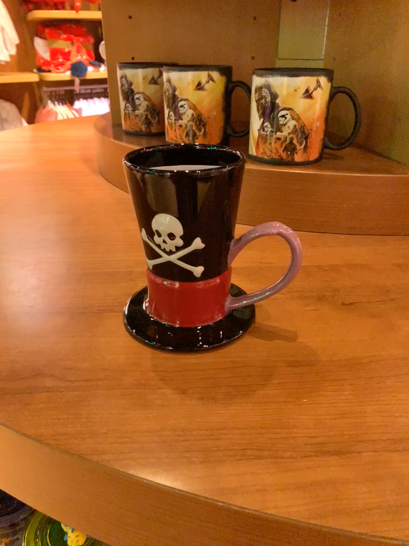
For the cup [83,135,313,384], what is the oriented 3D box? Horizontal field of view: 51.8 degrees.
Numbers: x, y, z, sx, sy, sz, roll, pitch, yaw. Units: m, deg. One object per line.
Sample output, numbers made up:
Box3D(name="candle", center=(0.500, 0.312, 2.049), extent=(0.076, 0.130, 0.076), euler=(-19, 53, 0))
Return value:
Box3D(name="cup", center=(0.003, -0.020, 0.334), extent=(0.134, 0.144, 0.110), euler=(10, 30, 18))
